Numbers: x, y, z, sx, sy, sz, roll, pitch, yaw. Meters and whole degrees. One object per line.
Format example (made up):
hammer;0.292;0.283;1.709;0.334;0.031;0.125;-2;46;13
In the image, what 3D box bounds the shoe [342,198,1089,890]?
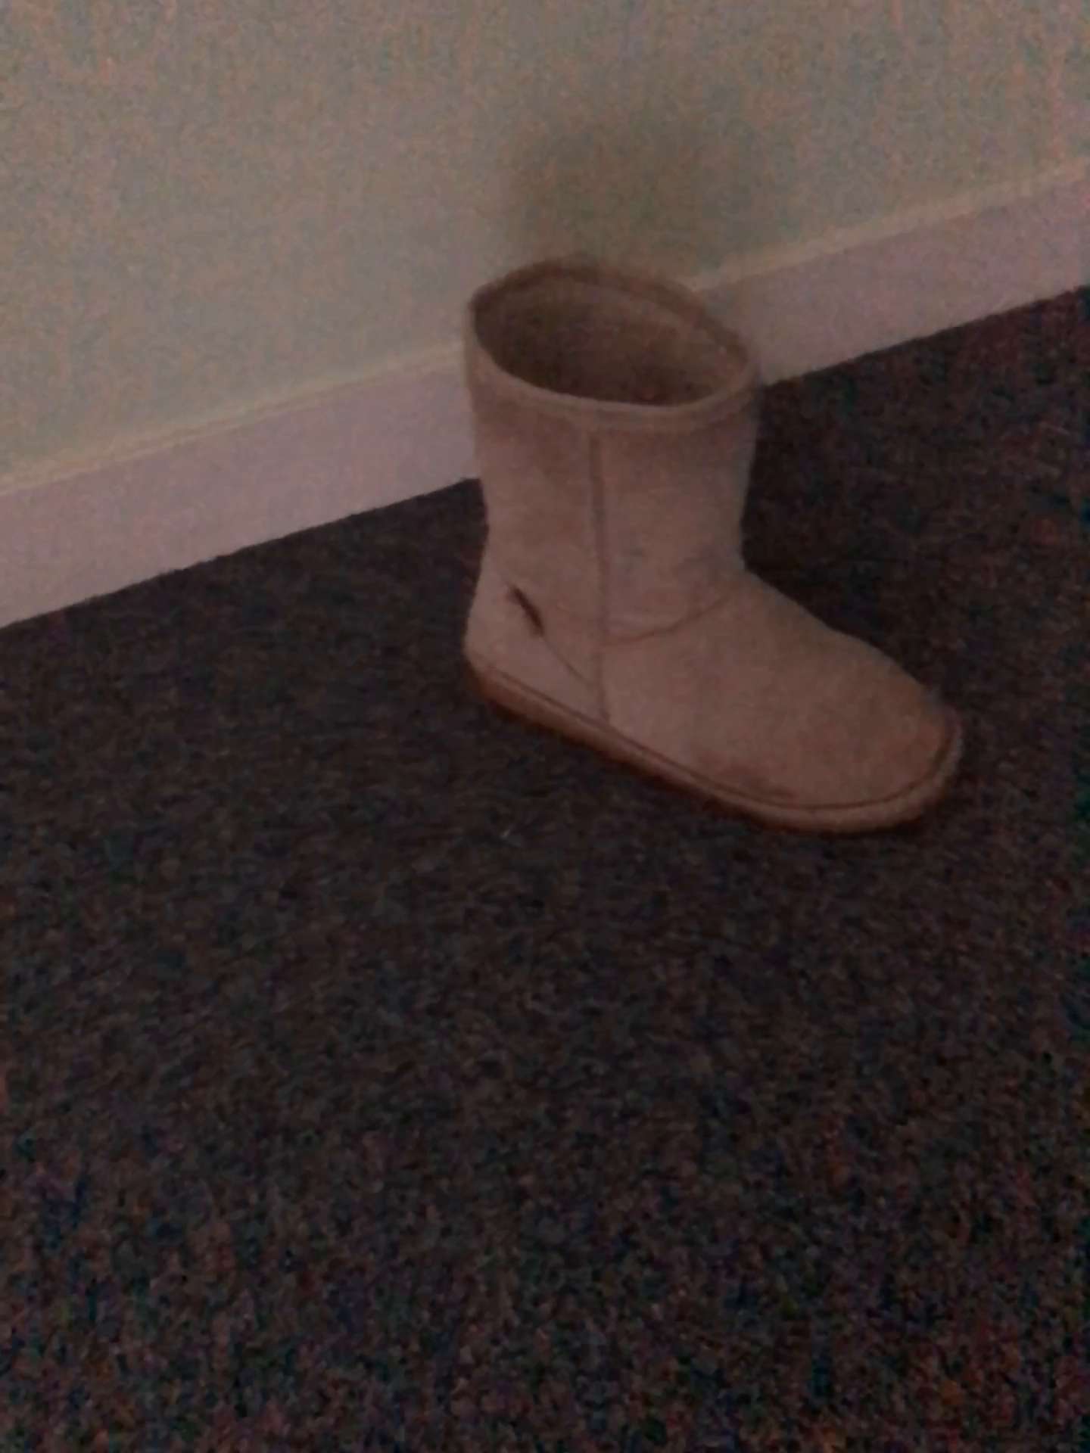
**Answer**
shoe;0.071;-0.081;0.544;0.270;0.209;0.121;23;57;20
